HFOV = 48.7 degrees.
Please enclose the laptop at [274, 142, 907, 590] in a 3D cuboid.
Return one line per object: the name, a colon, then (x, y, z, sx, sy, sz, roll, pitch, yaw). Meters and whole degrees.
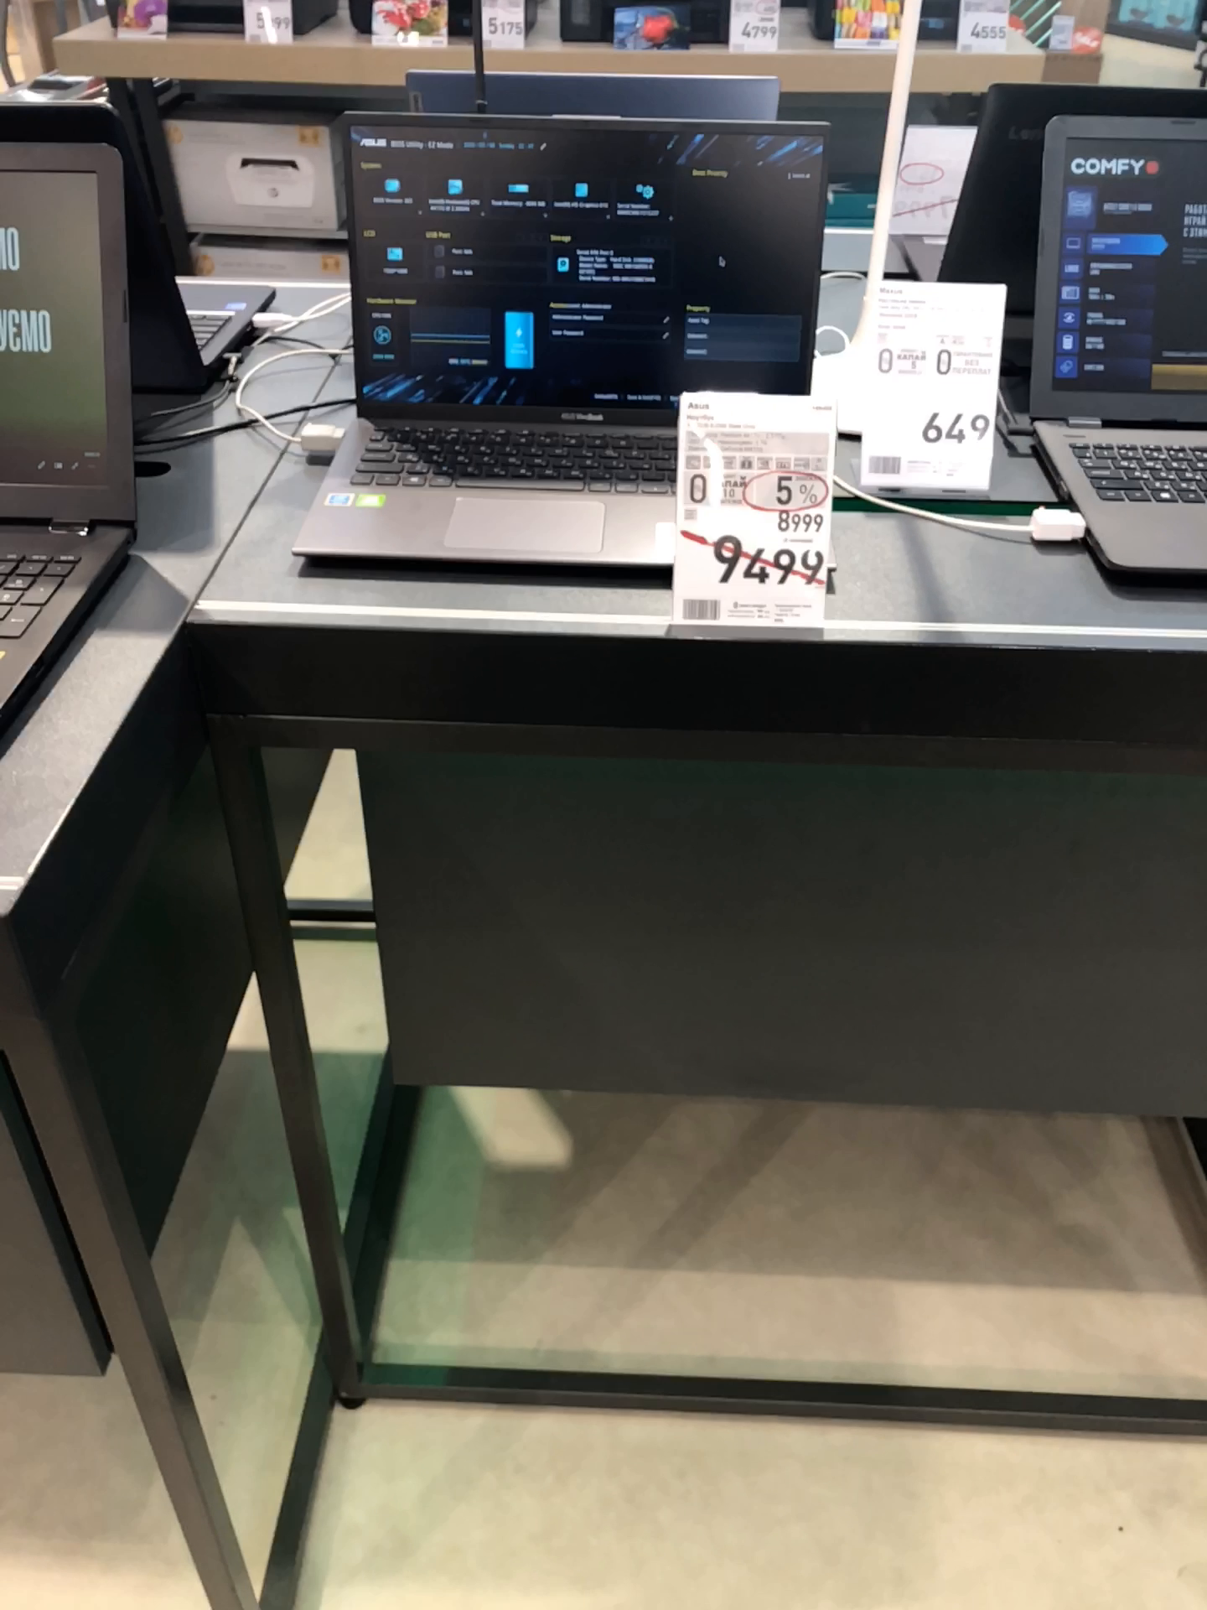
laptop: (-0.005, -0.314, 0.915, 0.355, 0.200, 0.288, 2, 37, 4)
